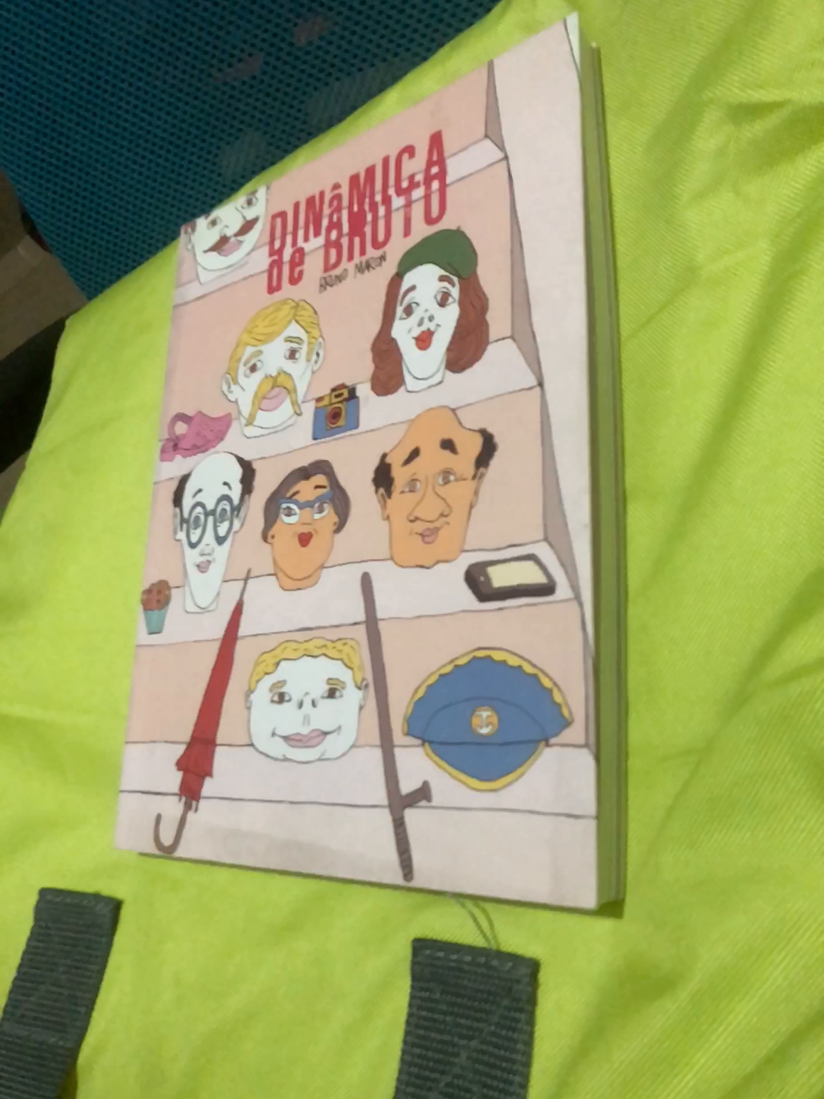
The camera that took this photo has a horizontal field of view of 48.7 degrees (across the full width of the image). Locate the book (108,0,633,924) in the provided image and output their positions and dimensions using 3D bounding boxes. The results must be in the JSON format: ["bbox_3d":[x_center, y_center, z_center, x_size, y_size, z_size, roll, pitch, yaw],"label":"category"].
[{"bbox_3d":[-0.021,-0.023,0.284,0.179,0.020,0.240,-10,70,39],"label":"book"}]
